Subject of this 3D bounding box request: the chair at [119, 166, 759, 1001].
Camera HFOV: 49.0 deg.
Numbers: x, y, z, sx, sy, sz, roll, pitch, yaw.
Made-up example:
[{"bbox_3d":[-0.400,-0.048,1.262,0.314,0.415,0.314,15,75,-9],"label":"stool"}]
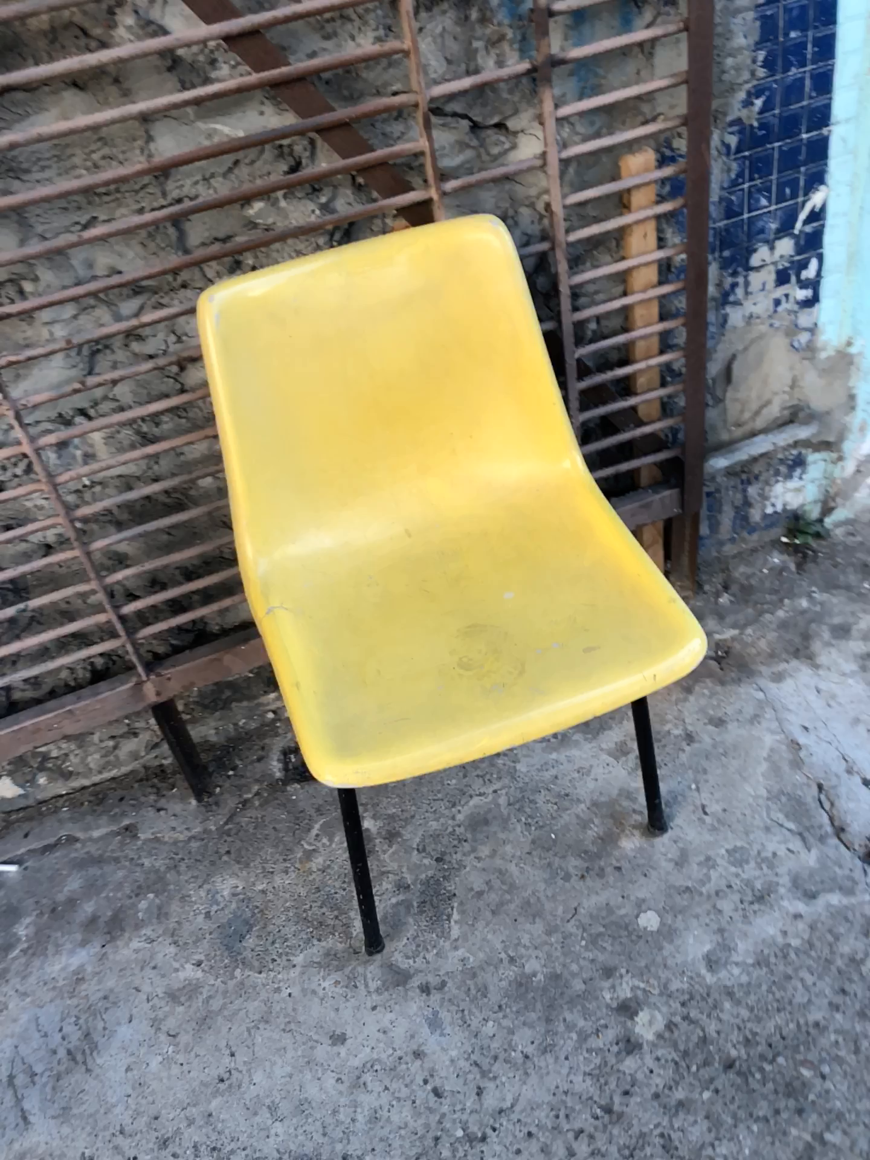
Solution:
[{"bbox_3d":[0.015,0.008,1.105,0.480,0.715,0.473,-19,39,-7],"label":"chair"}]
